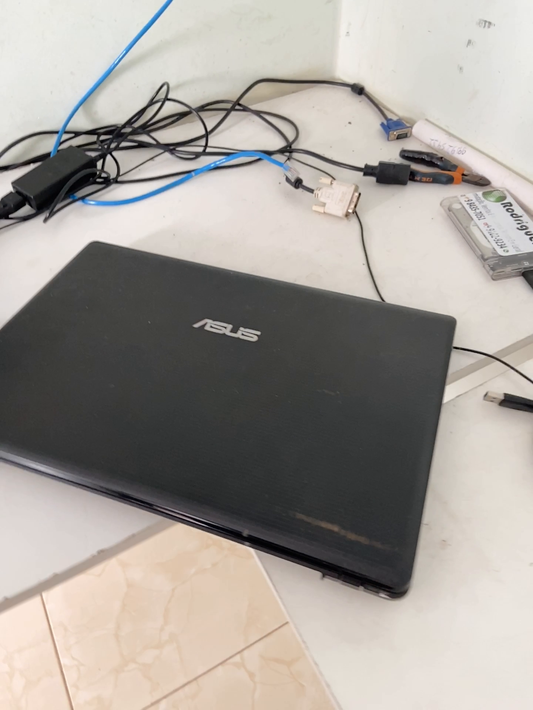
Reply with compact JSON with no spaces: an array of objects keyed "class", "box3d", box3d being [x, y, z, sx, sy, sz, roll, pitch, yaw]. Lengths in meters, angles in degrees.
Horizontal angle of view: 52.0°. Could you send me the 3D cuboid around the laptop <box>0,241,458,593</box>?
[{"class":"laptop","box3d":[-0.050,0.011,0.462,0.381,0.010,0.254,14,48,15]}]
